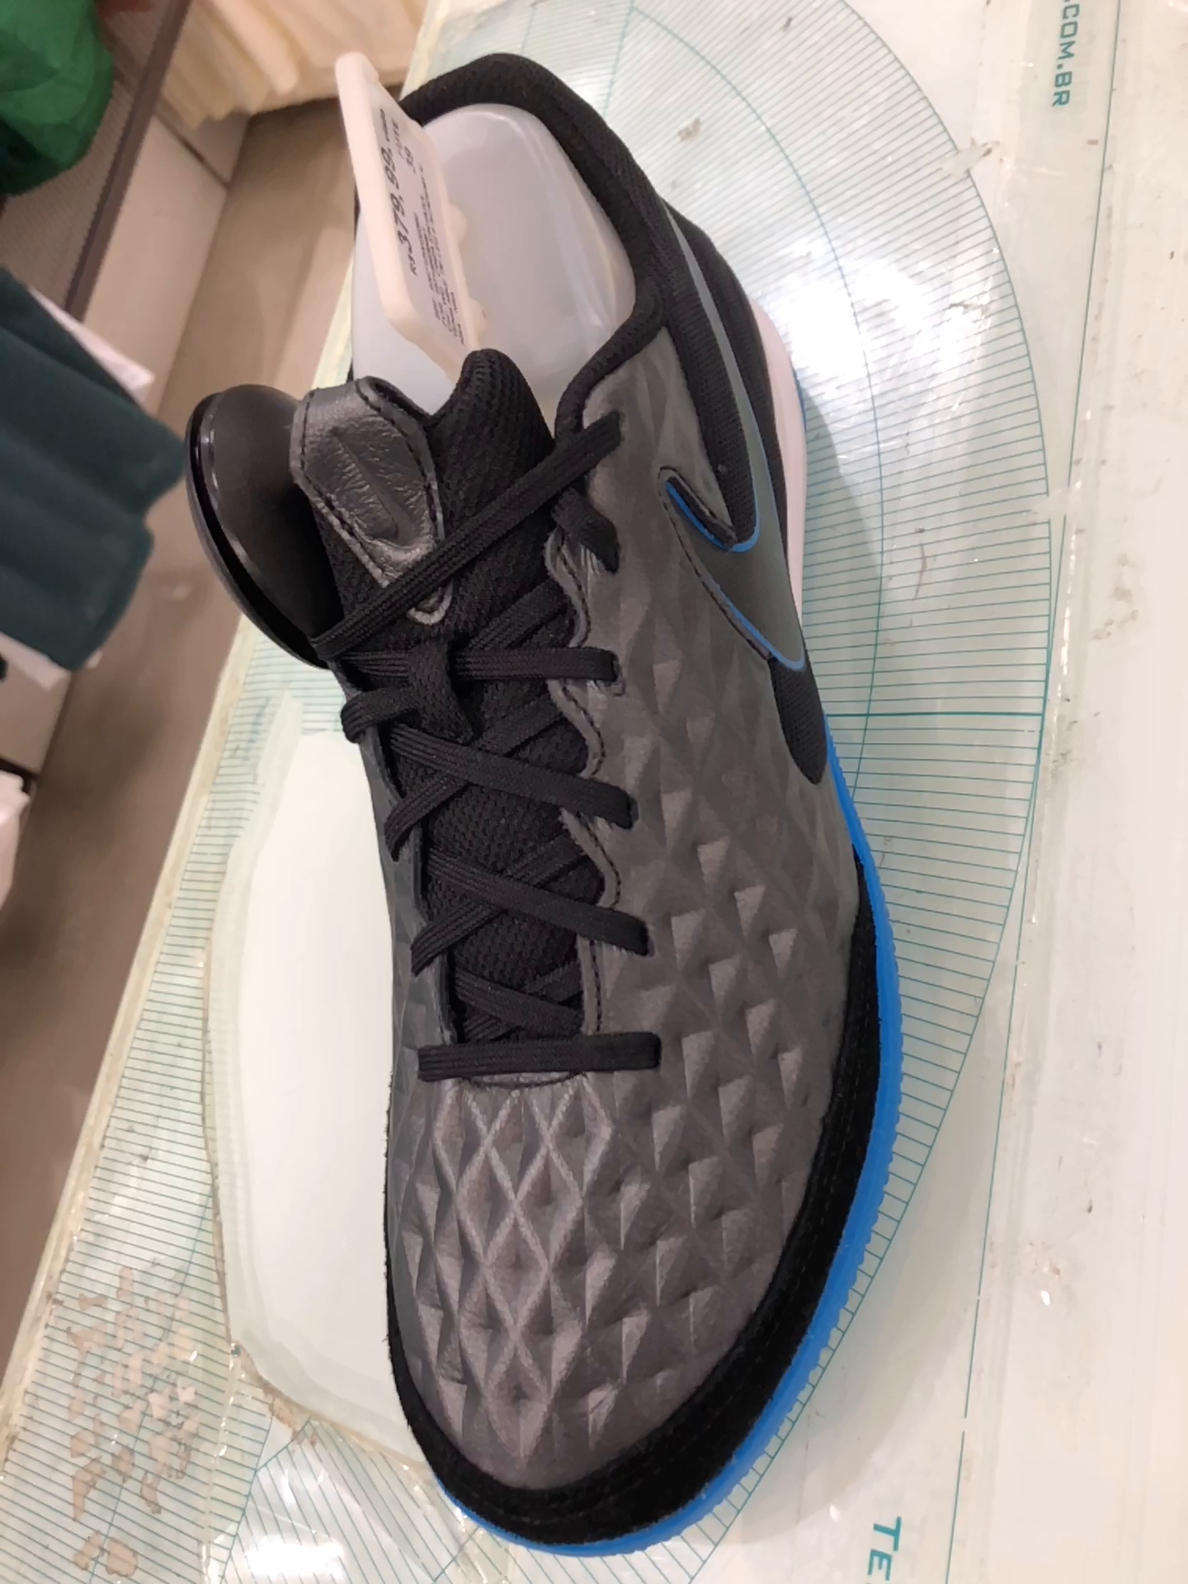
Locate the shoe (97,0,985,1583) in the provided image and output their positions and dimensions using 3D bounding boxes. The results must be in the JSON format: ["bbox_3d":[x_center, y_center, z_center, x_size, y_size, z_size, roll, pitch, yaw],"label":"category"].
[{"bbox_3d":[0.005,-0.015,0.257,0.100,0.100,0.291,-8,65,27],"label":"shoe"}]
